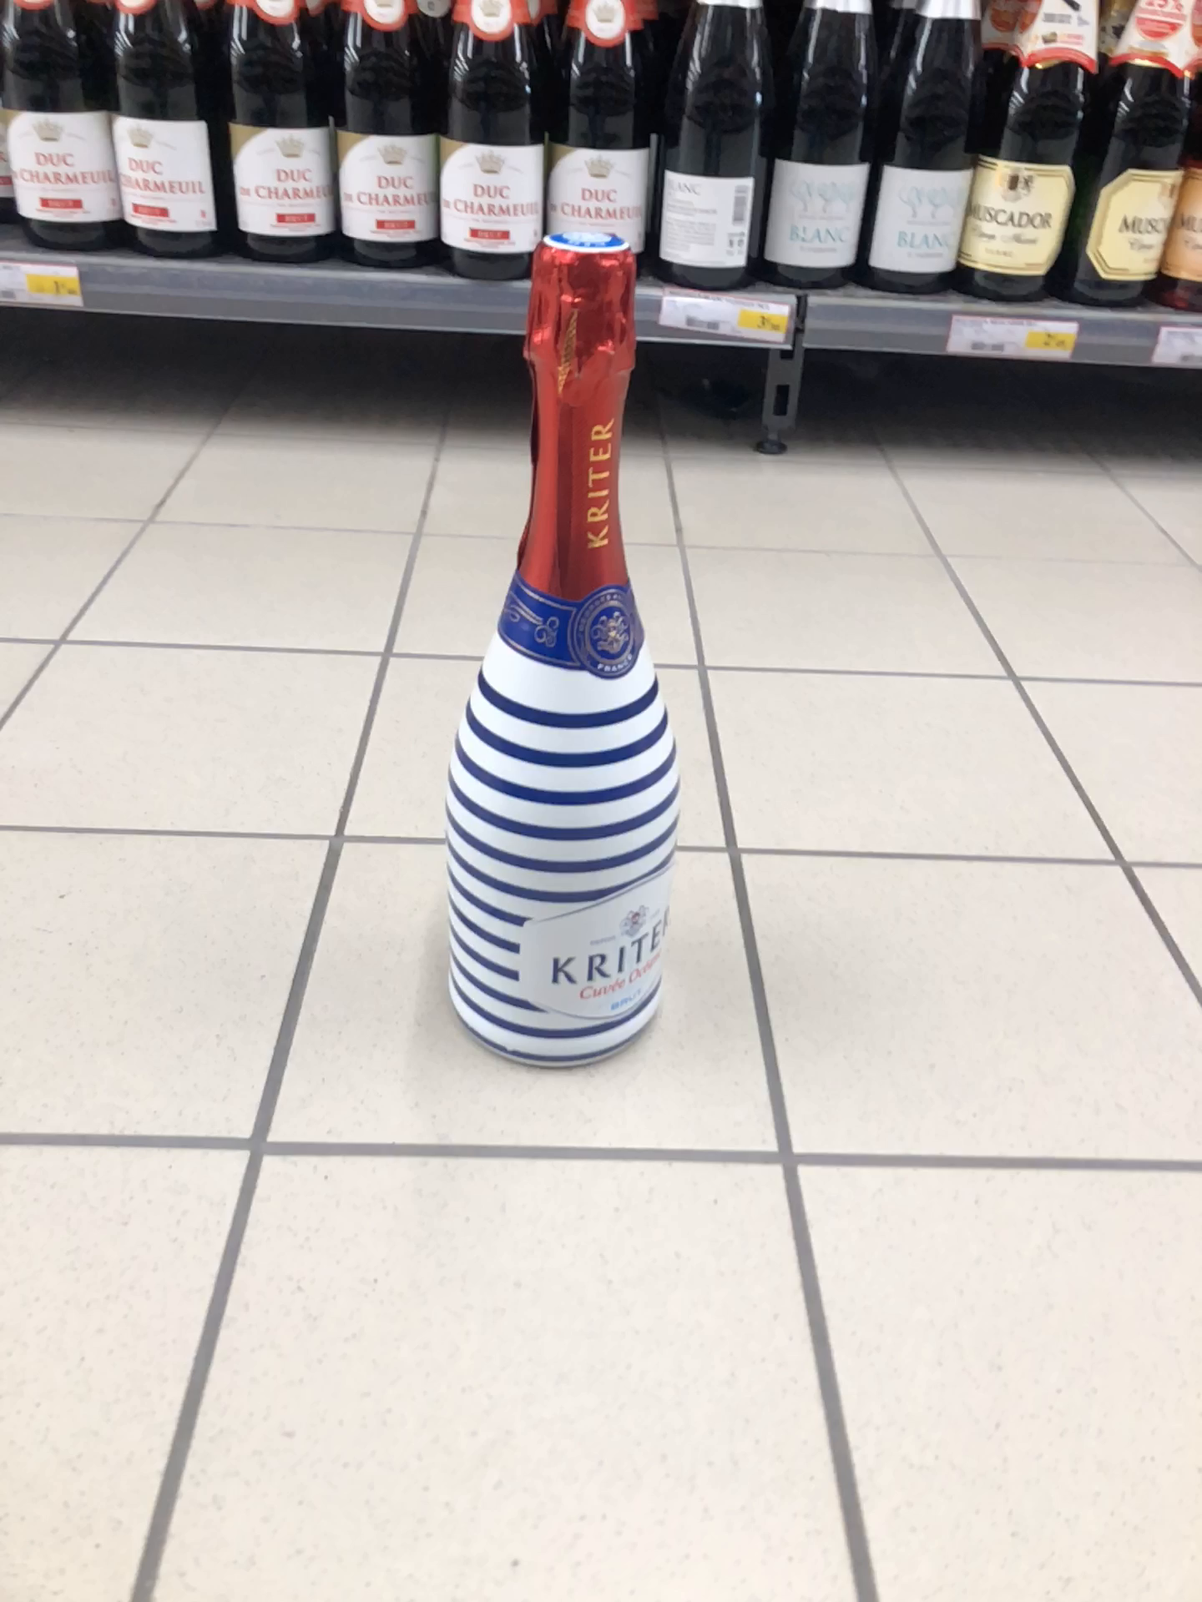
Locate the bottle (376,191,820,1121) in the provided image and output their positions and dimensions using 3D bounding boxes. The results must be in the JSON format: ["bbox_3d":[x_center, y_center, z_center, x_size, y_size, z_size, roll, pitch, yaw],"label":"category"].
[{"bbox_3d":[-0.009,-0.045,0.477,0.100,0.308,0.090,-23,40,-37],"label":"bottle"}]
